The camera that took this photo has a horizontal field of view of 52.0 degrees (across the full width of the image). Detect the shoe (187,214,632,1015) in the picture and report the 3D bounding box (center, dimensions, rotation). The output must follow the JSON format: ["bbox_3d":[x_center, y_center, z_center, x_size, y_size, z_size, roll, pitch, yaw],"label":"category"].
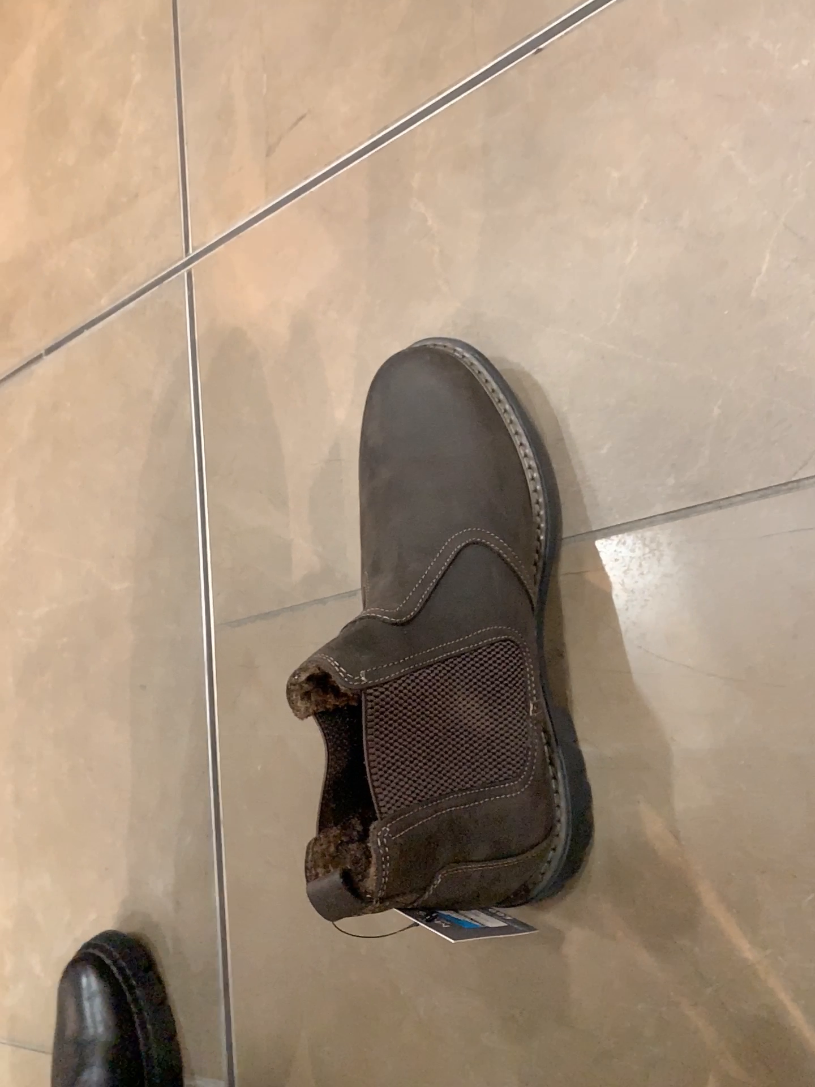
[{"bbox_3d":[0.000,0.032,0.412,0.114,0.165,0.304,-15,73,35],"label":"shoe"}]
